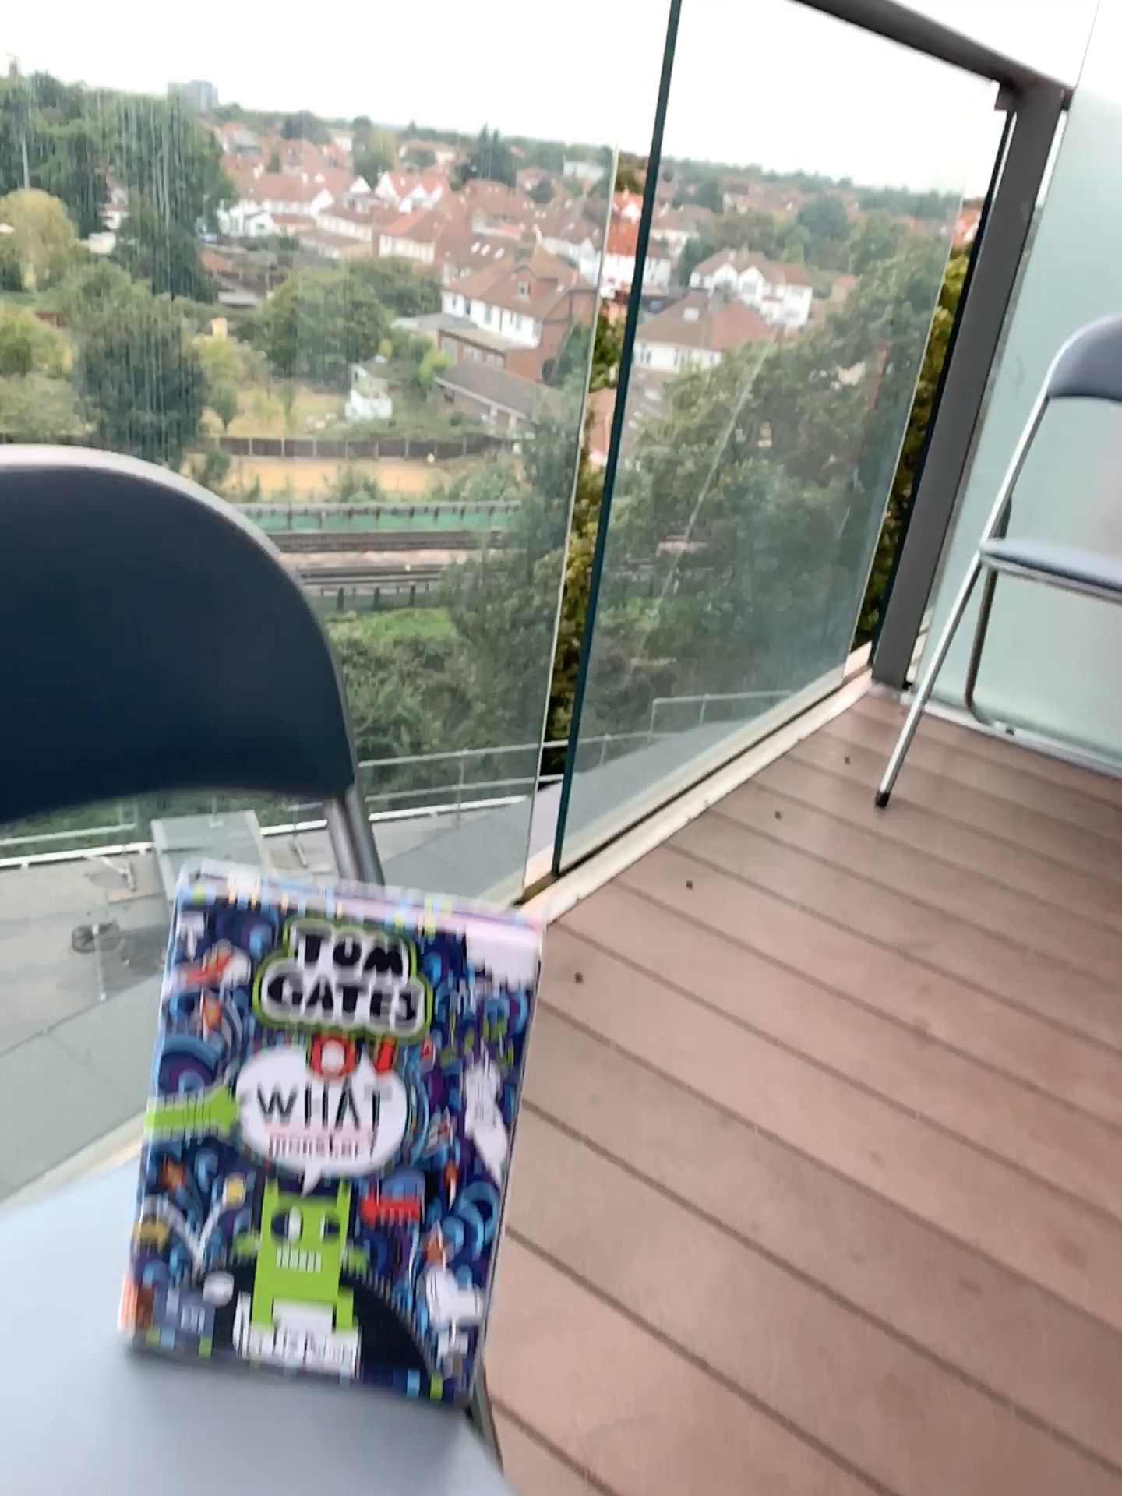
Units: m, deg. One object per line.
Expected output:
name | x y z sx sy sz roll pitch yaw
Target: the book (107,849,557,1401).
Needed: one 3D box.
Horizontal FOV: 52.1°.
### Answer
book | -0.096 0.158 0.492 0.160 0.200 0.050 8 6 2
